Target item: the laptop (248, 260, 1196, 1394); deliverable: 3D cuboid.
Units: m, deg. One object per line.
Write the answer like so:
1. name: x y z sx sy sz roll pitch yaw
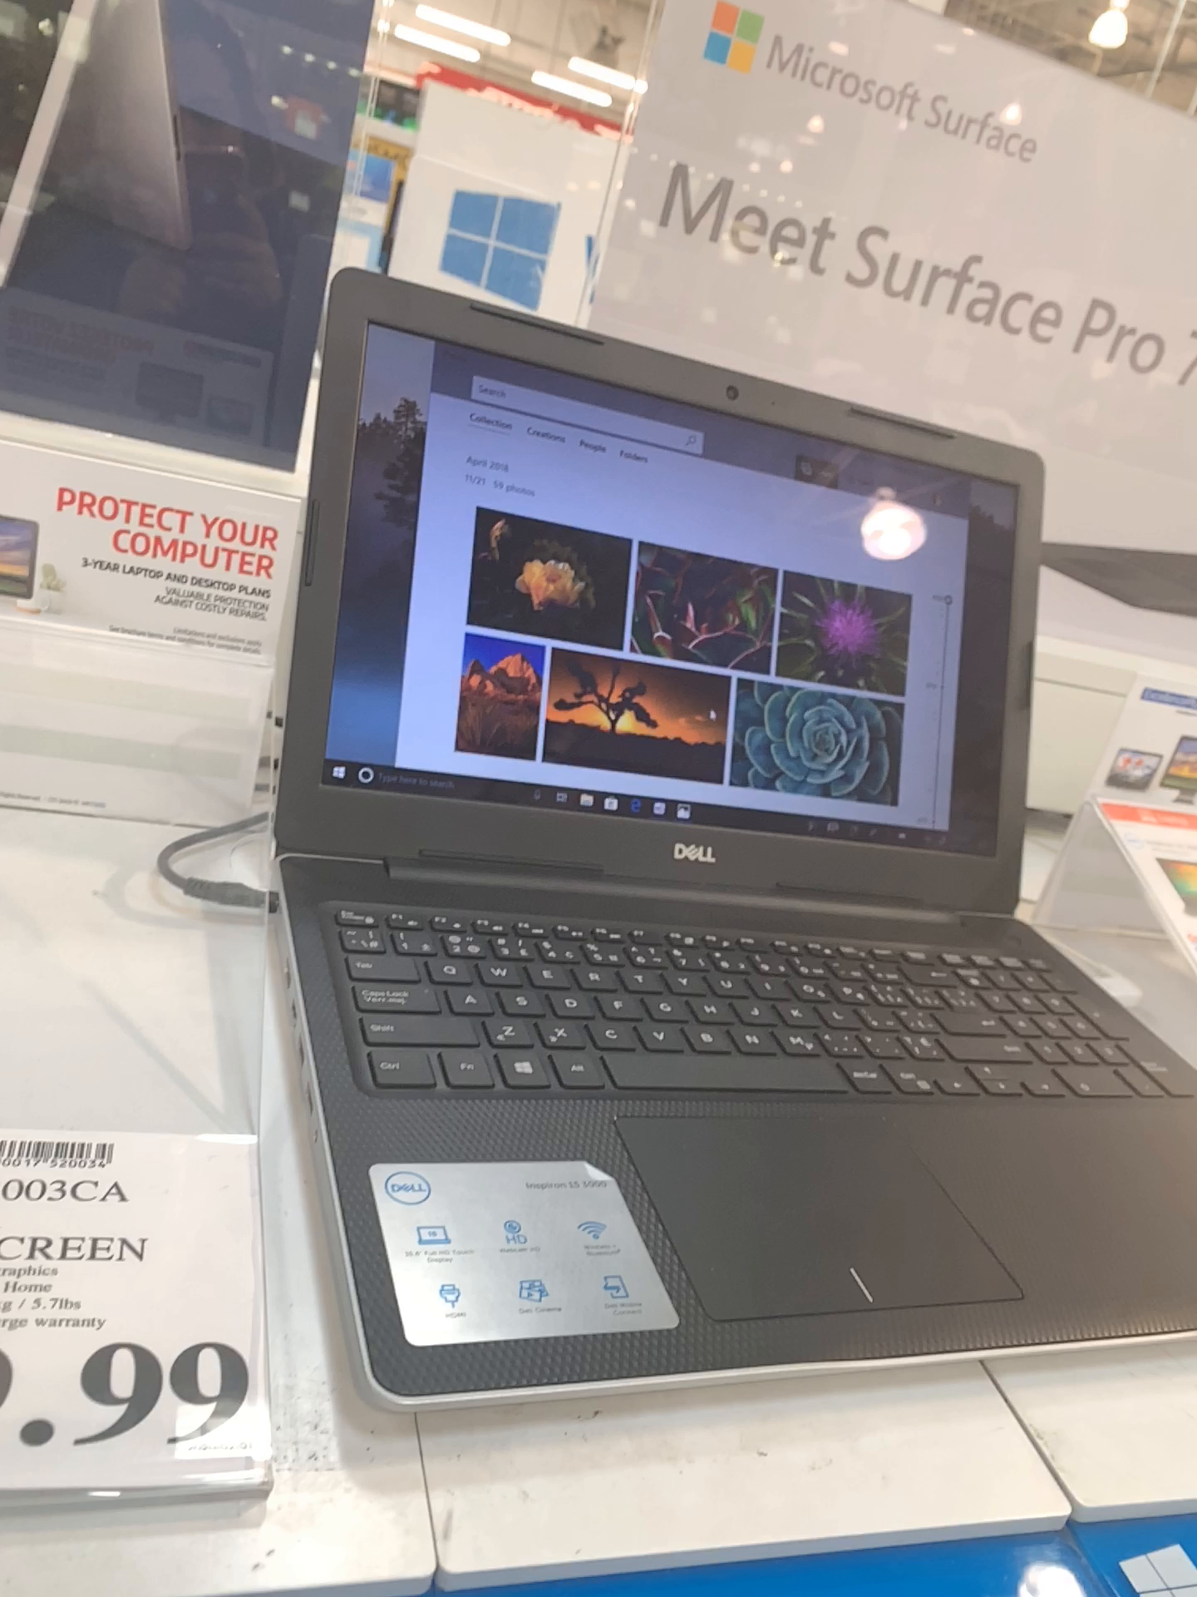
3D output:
1. laptop: 0.089 -0.021 0.441 0.357 0.205 0.343 7 22 -24
